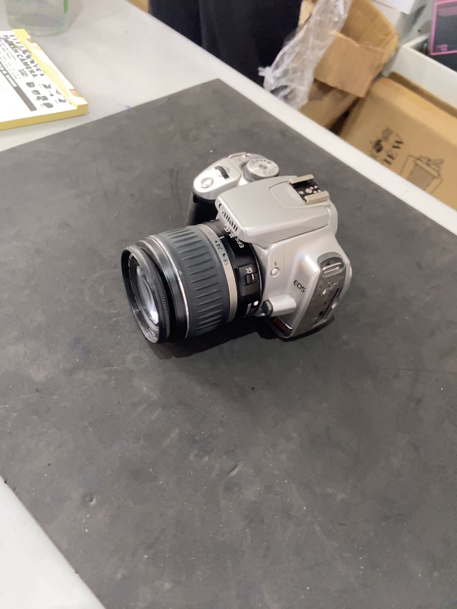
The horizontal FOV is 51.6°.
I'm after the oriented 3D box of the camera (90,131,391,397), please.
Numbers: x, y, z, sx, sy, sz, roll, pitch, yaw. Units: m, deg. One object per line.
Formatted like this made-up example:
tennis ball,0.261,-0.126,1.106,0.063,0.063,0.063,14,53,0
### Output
camera,0.002,-0.035,0.312,0.140,0.080,0.120,-21,58,-28
